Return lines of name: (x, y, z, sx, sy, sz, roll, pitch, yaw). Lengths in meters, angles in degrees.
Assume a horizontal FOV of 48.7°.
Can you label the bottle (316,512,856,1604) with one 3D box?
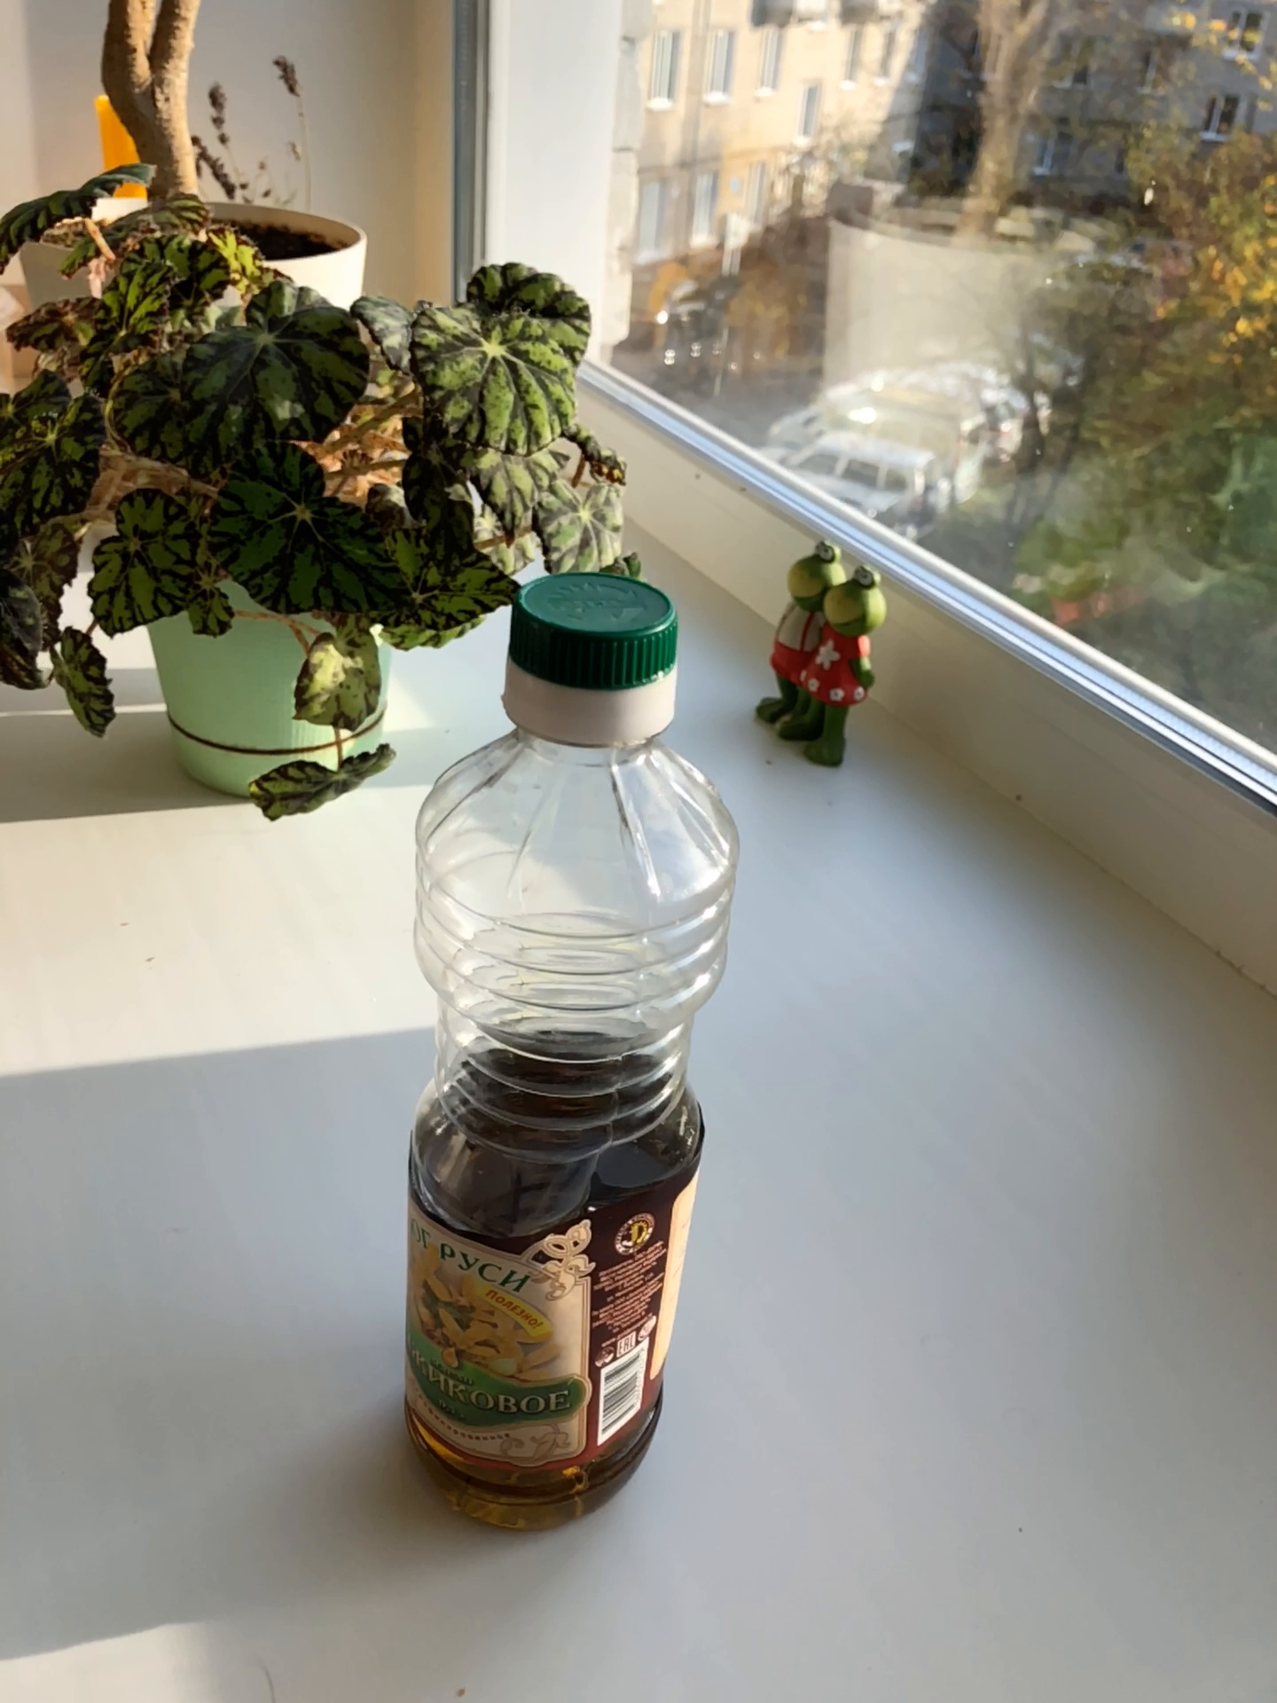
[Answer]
bottle: (-0.017, 0.050, 0.293, 0.061, 0.217, 0.068, 30, 39, 33)
